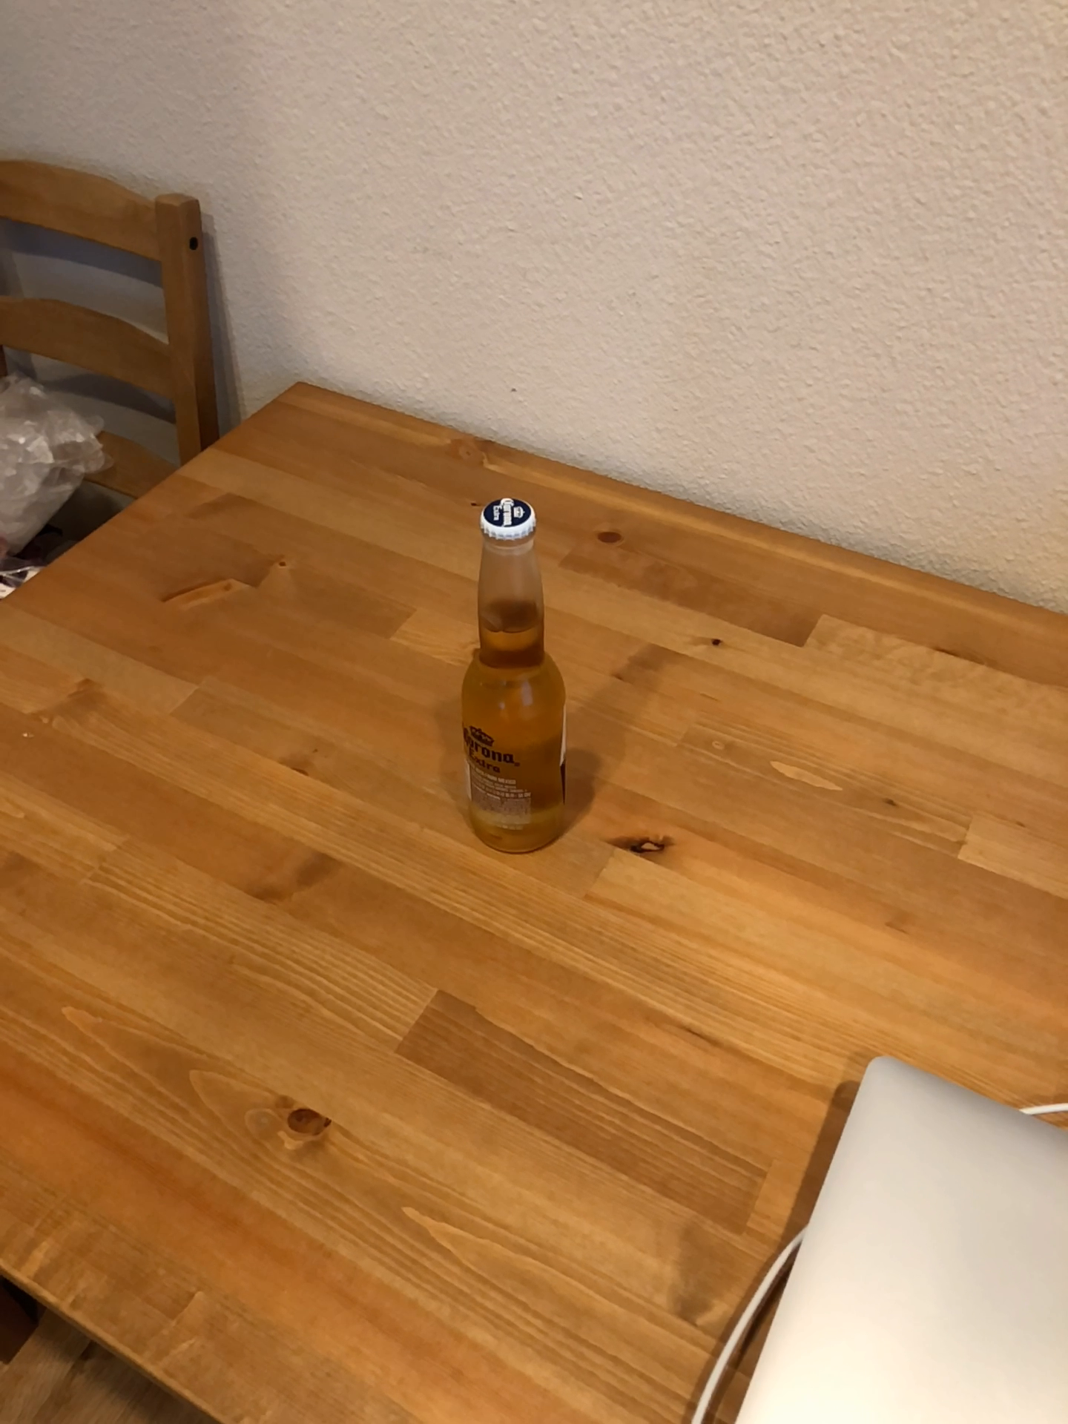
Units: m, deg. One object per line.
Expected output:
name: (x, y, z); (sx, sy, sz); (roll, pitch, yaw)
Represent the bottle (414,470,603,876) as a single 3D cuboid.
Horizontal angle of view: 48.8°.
bottle: (-0.013, -0.015, 0.681); (0.070, 0.229, 0.070); (0, 44, 0)
